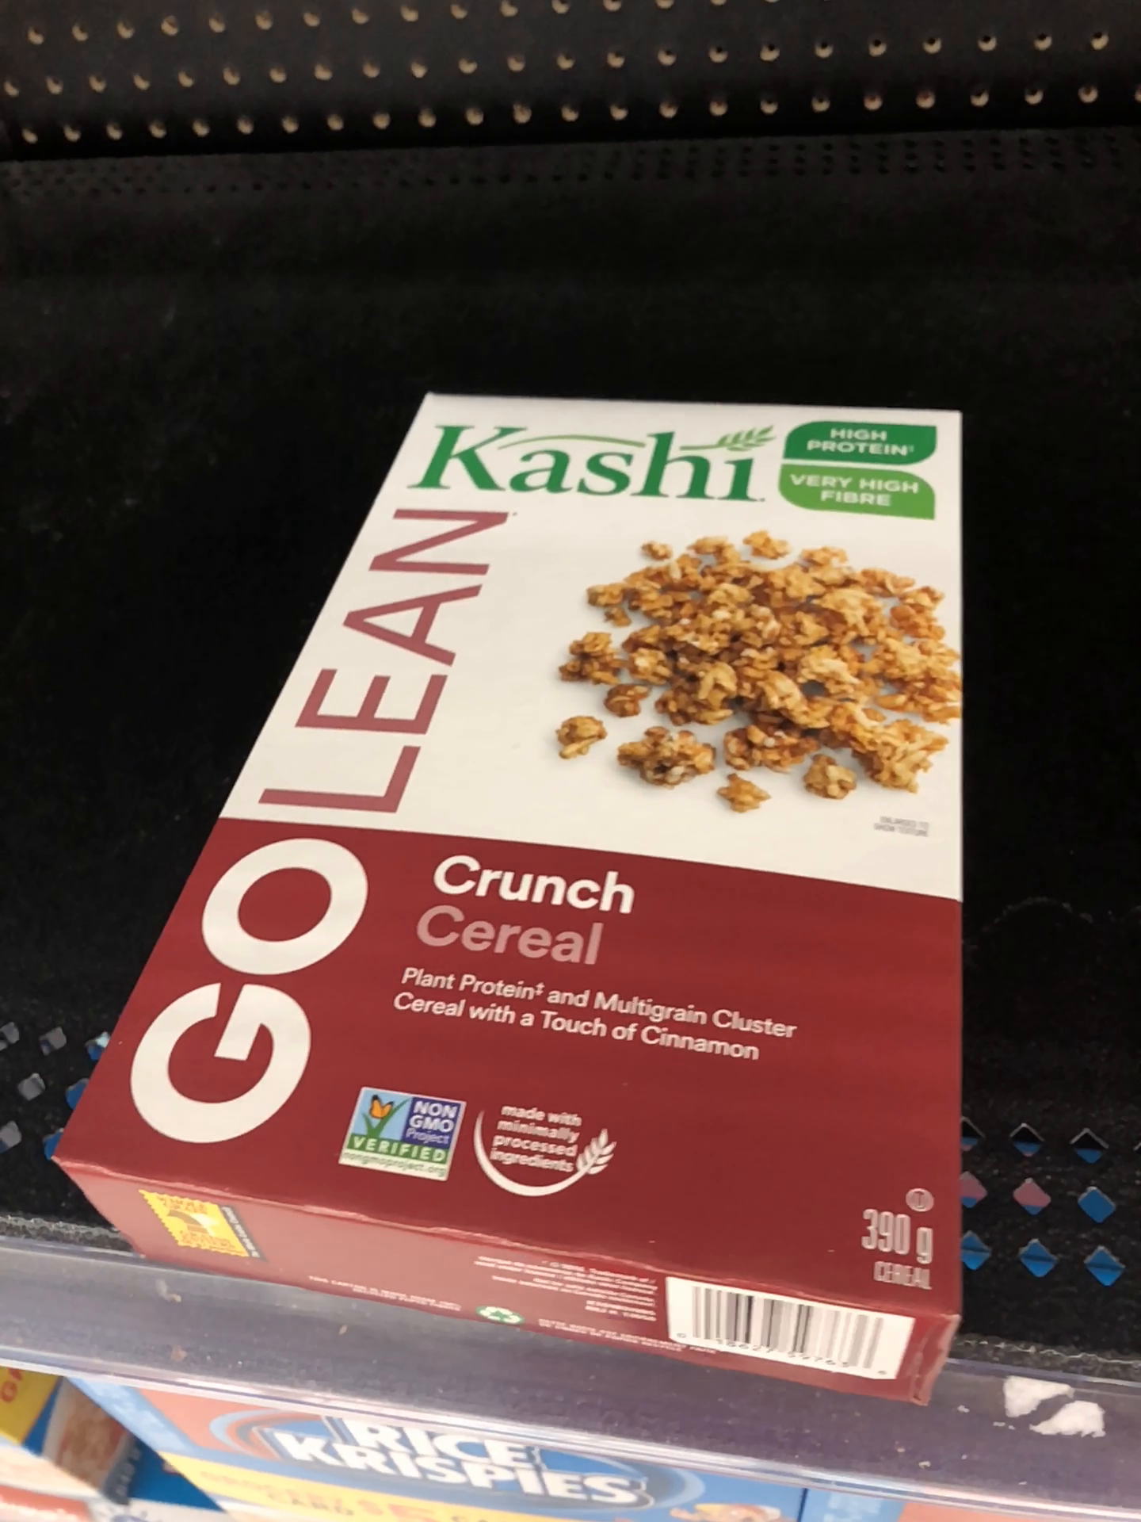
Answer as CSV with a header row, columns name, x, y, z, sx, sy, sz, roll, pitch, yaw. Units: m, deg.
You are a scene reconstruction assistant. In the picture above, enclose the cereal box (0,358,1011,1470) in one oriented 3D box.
name,x,y,z,sx,sy,sz,roll,pitch,yaw
cereal box,0.011,-0.002,0.328,0.180,0.050,0.291,6,47,11
